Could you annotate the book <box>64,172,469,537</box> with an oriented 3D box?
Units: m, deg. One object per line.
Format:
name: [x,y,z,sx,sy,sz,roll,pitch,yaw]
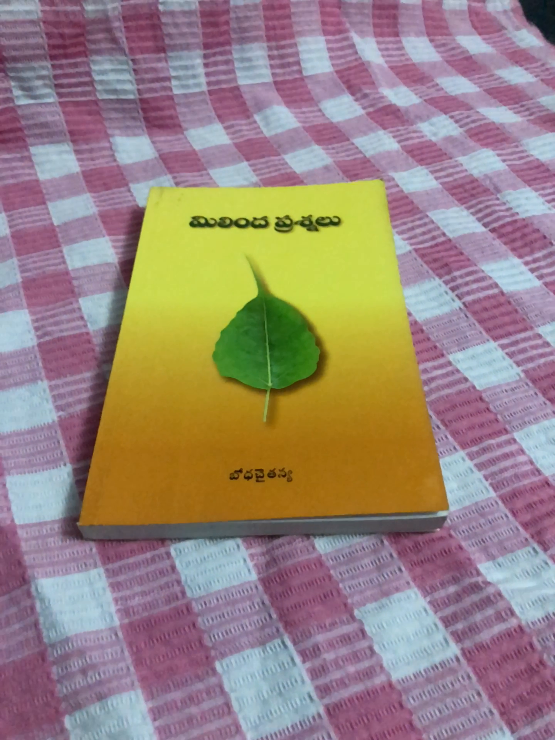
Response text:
book: [-0.005,-0.026,0.306,0.150,0.020,0.221,-1,50,0]
